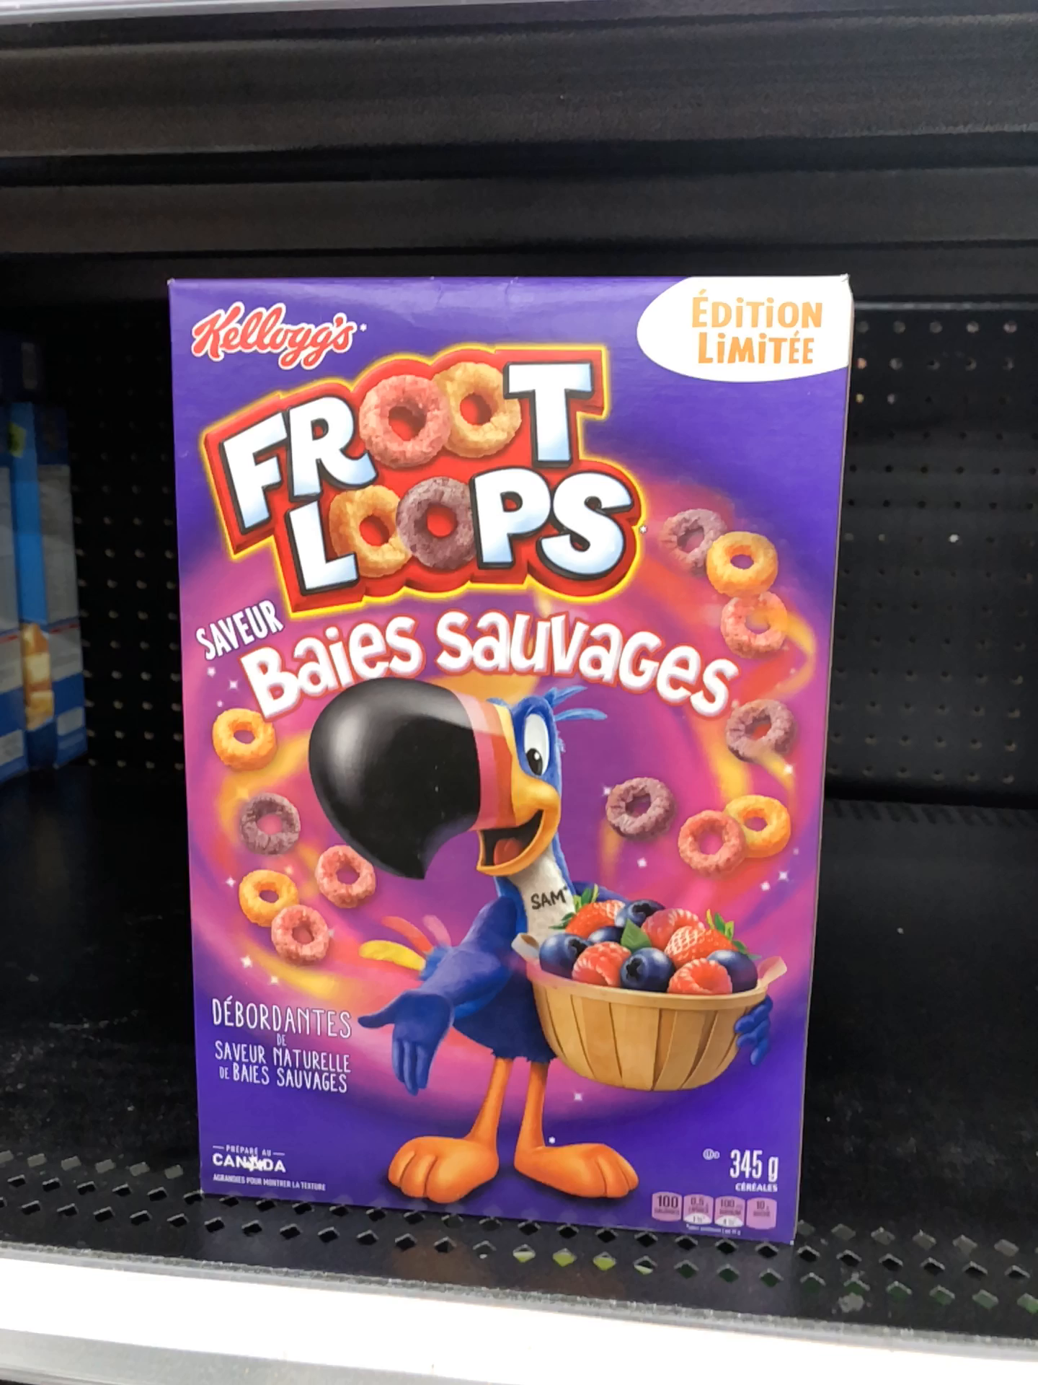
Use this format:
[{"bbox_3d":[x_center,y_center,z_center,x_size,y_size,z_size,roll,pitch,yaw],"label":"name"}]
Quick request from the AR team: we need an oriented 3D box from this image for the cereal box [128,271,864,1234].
[{"bbox_3d":[-0.009,0.020,0.375,0.210,0.289,0.050,2,11,8],"label":"cereal box"}]
